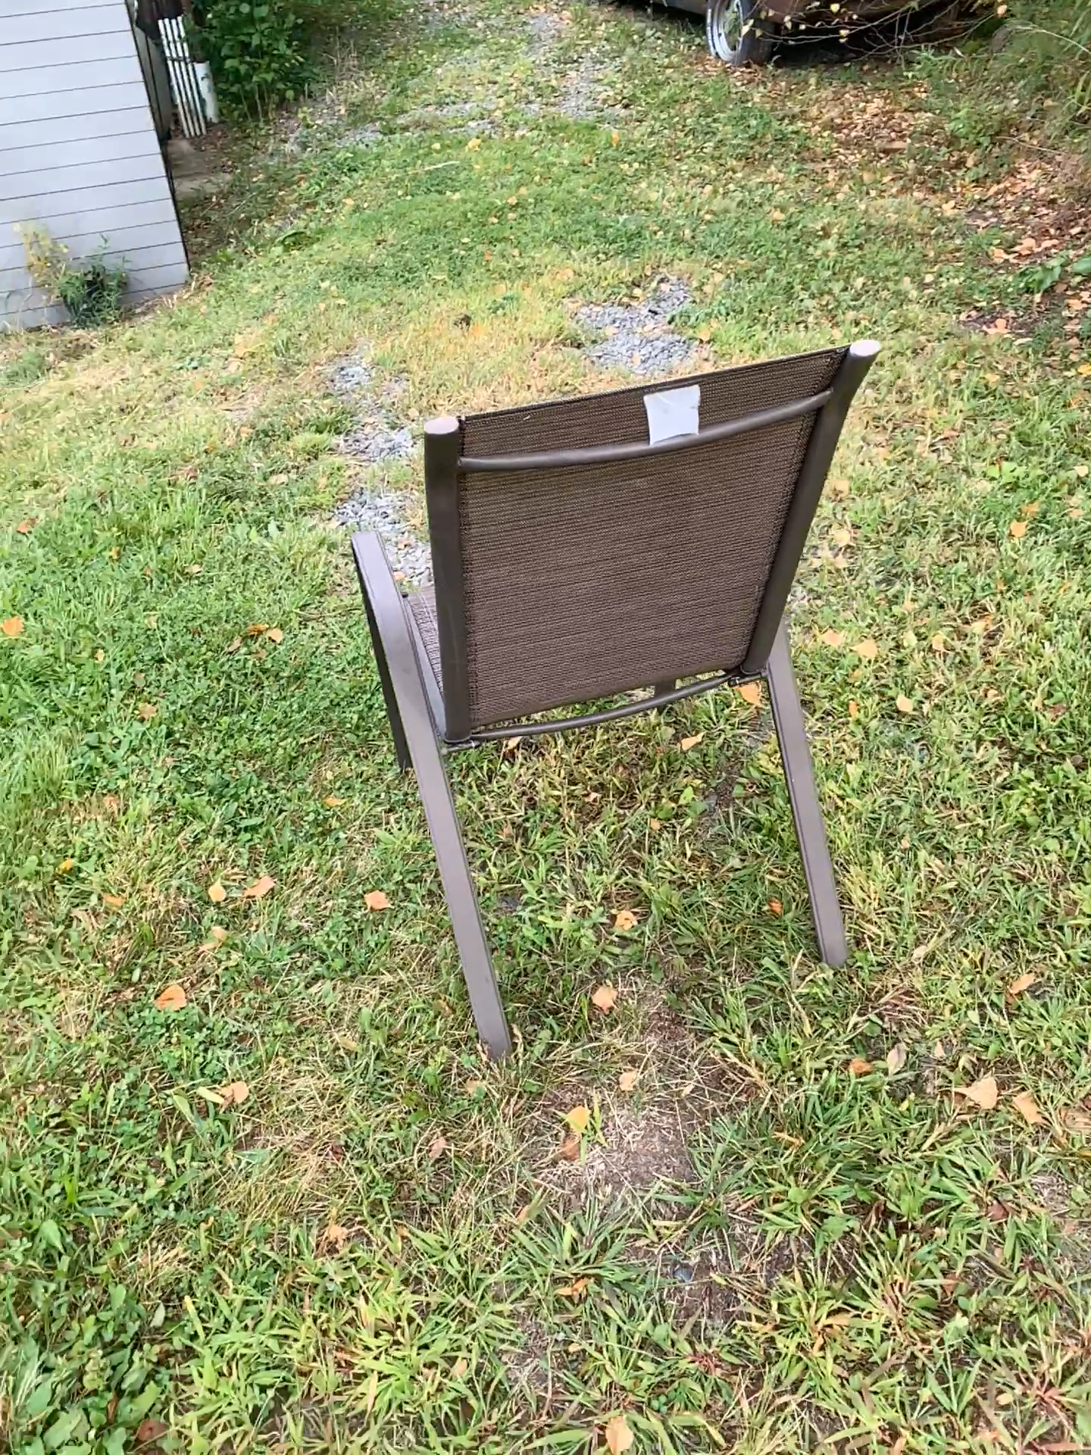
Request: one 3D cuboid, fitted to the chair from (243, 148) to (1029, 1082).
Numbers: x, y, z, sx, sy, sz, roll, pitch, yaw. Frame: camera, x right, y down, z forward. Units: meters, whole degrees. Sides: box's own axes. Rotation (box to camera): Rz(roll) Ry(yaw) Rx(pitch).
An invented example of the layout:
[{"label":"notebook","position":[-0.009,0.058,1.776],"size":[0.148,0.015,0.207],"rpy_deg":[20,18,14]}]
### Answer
[{"label":"chair","position":[0.040,-0.166,1.487],"size":[0.620,0.875,0.744],"rpy_deg":[-13,43,-12]}]
